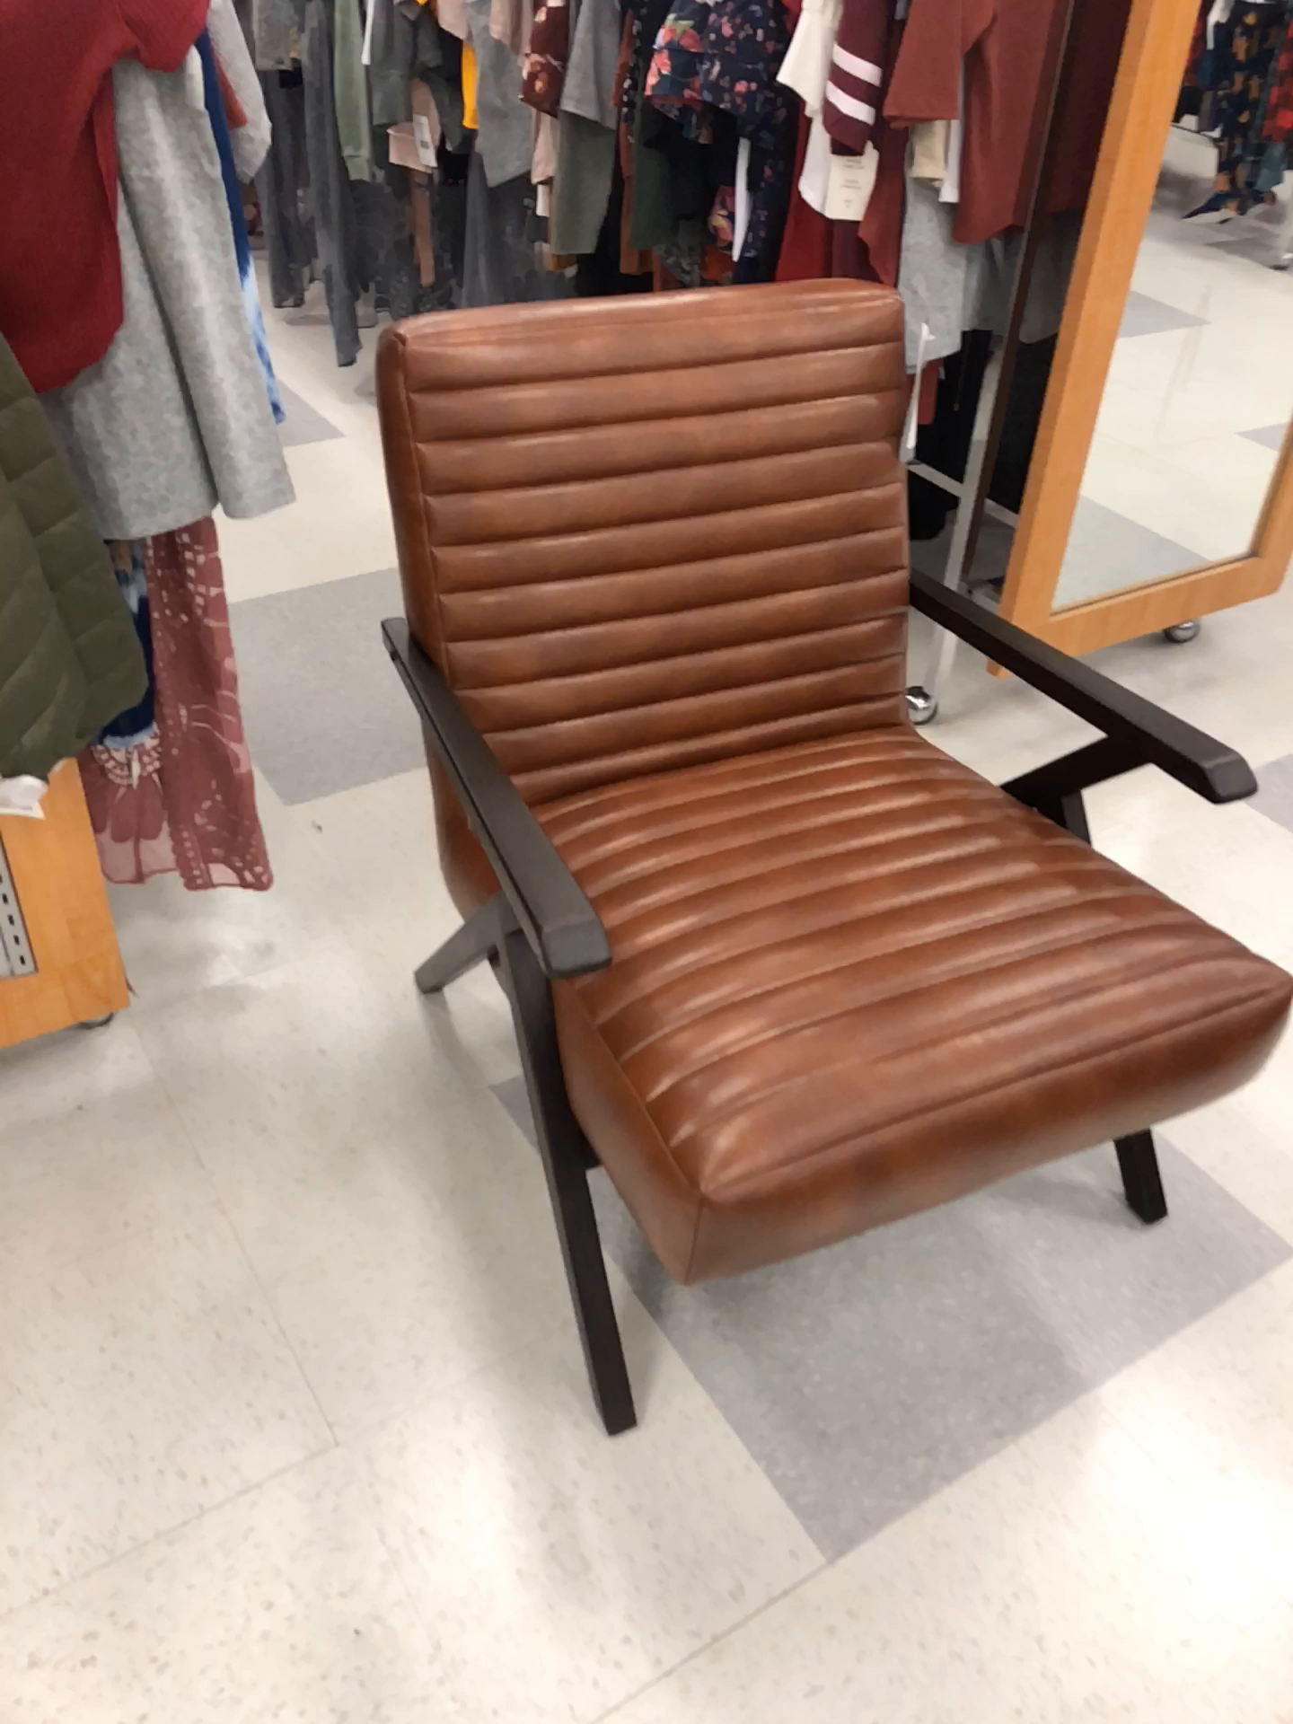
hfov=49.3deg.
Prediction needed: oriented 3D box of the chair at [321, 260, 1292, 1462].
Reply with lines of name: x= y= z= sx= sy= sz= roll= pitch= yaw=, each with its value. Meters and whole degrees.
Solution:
chair: x=0.145 y=-0.057 z=1.331 sx=0.676 sy=0.756 sz=0.680 roll=-13 pitch=40 yaw=-20
